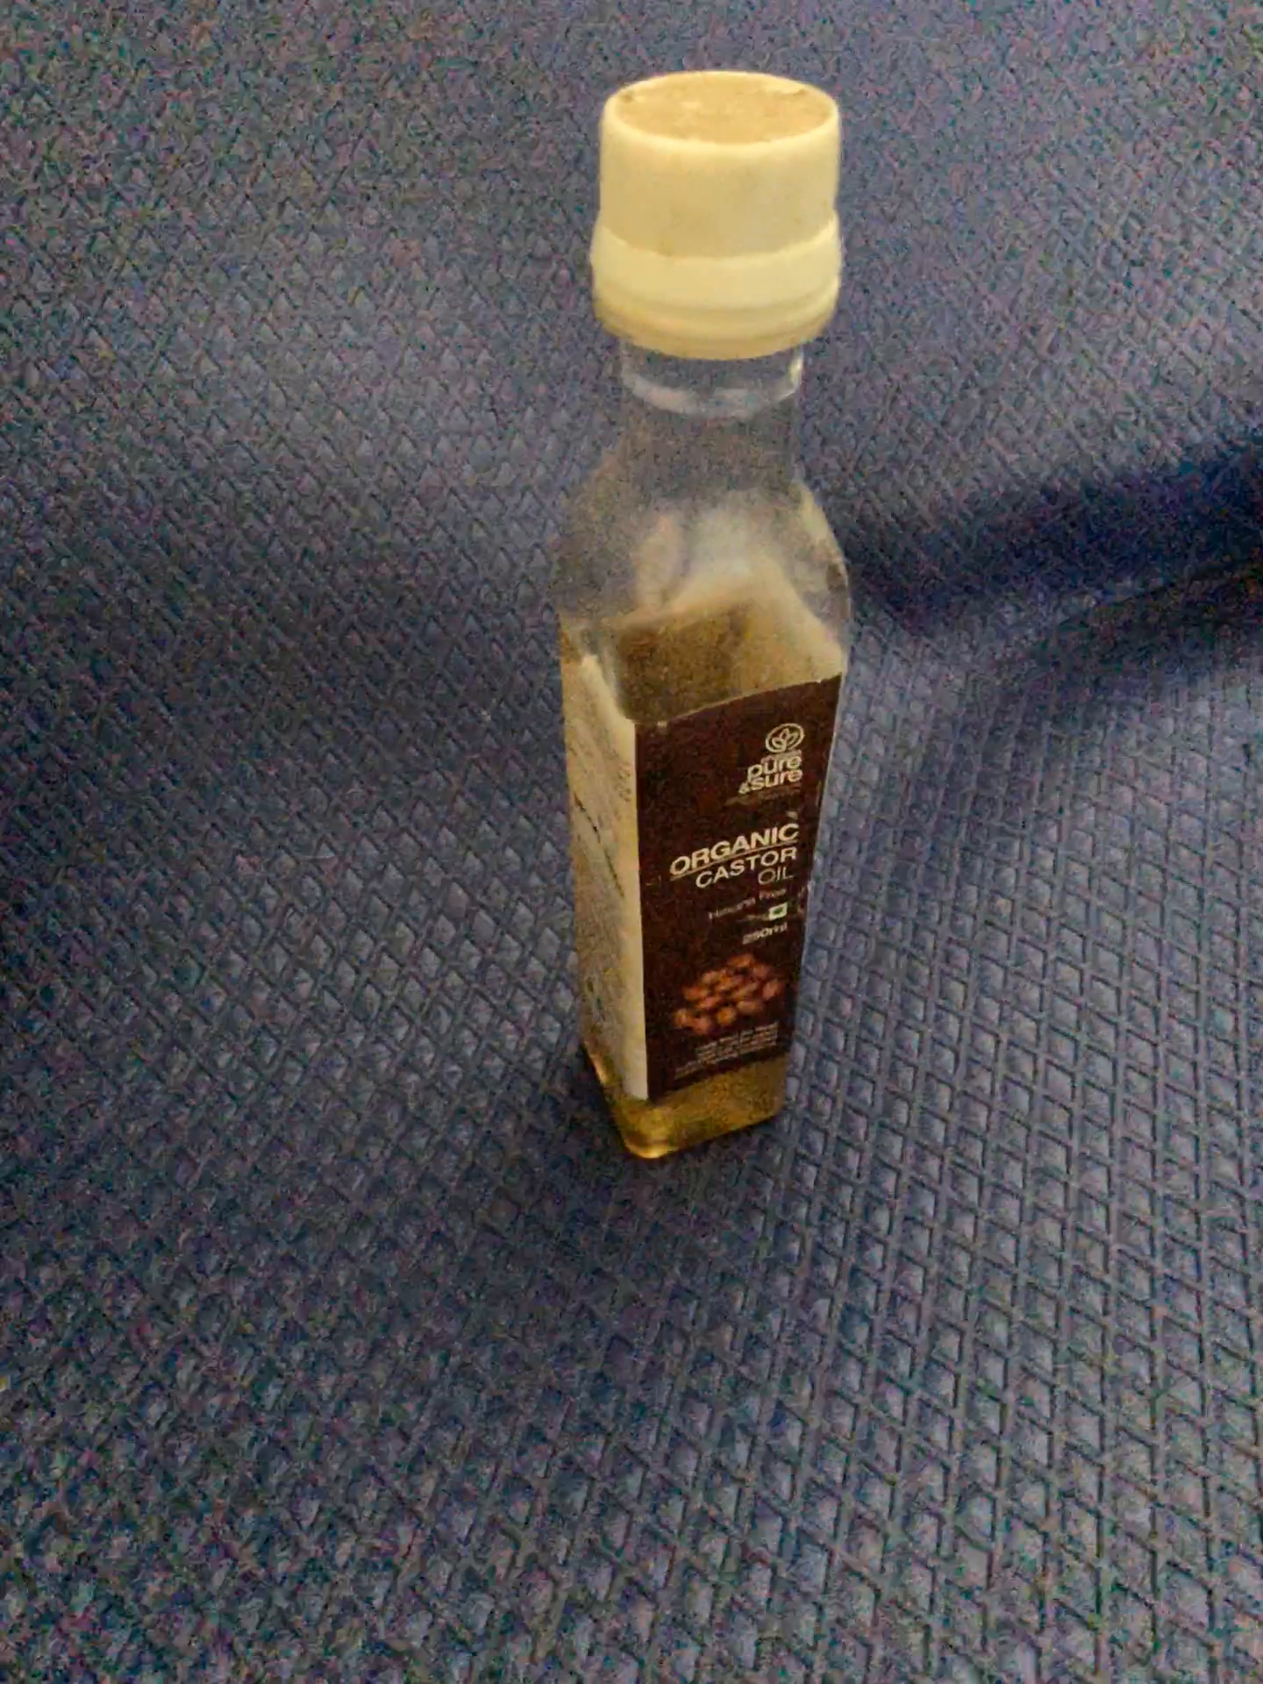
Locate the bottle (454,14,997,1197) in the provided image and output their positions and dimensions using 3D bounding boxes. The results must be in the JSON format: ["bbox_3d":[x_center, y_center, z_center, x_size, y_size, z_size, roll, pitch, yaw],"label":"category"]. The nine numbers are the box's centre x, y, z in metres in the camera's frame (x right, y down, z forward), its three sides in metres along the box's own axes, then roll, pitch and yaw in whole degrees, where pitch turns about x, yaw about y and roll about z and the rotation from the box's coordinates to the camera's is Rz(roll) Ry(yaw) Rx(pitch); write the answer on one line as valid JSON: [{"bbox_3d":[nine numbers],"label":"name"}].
[{"bbox_3d":[0.011,-0.021,0.229,0.050,0.198,0.050,-1,43,1],"label":"bottle"}]
